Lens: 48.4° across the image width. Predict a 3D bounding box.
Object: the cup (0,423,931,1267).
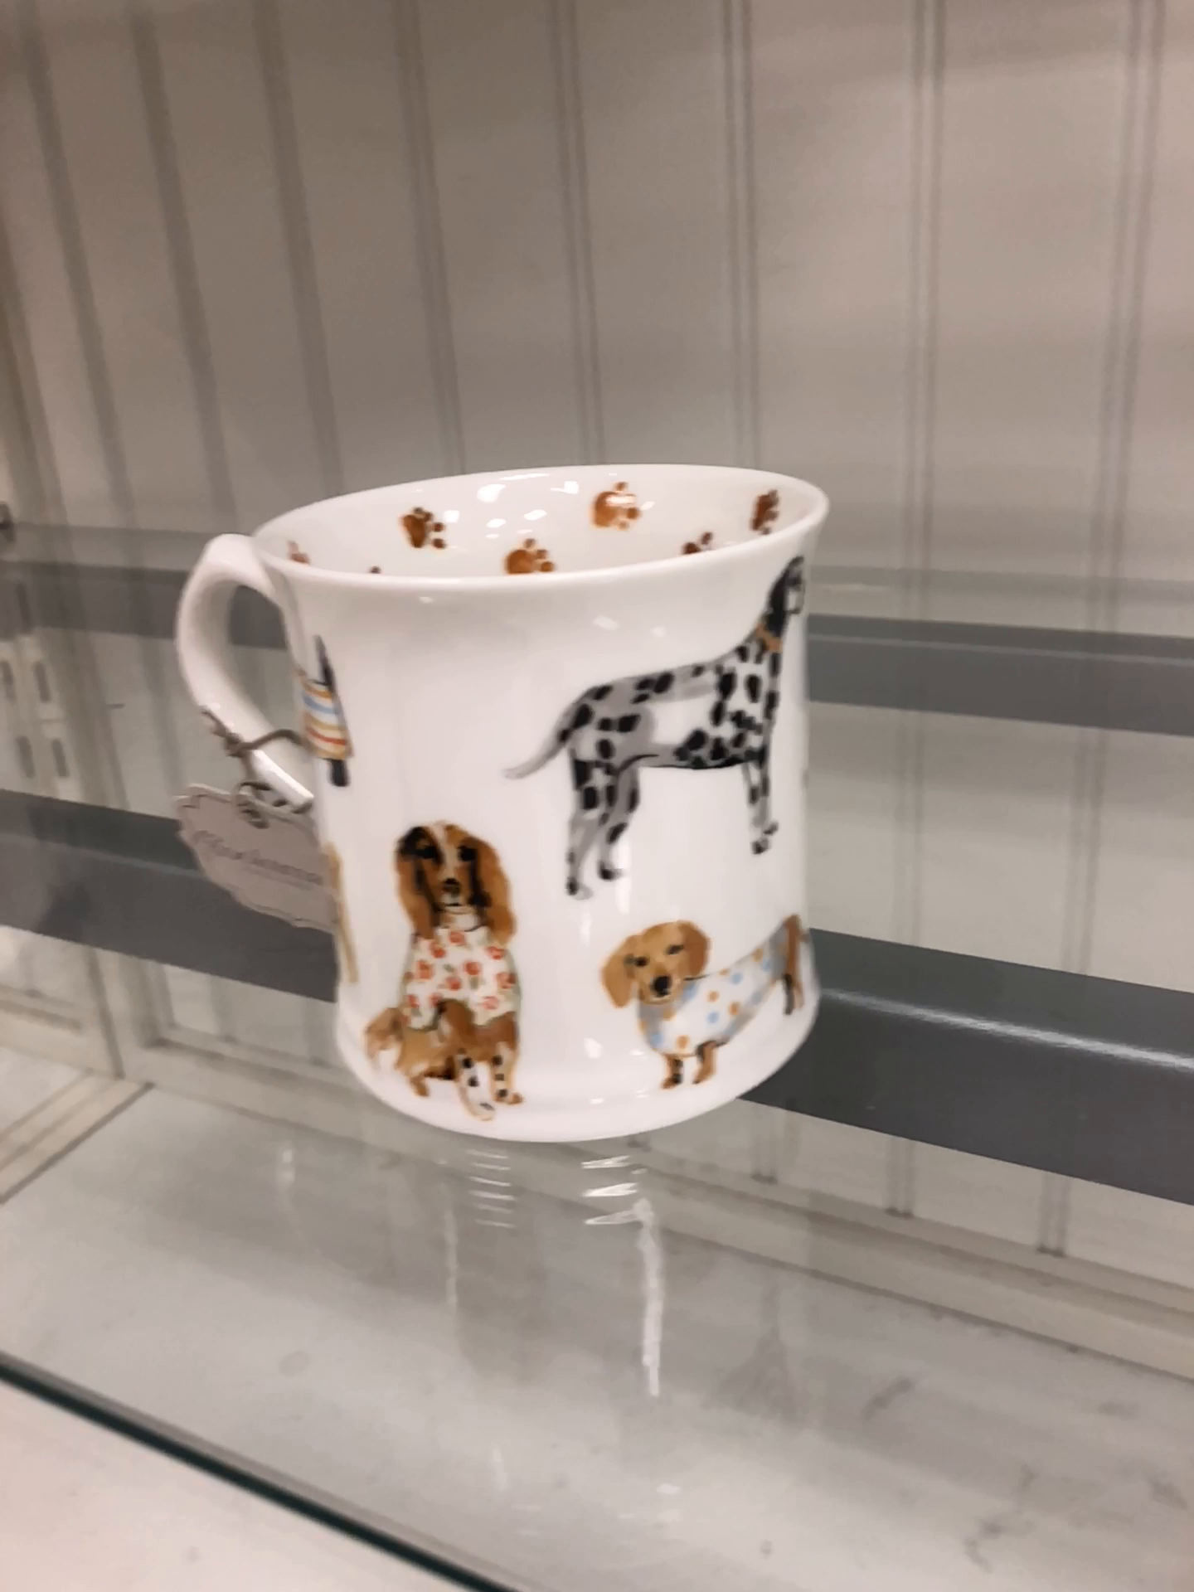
[{"bbox_3d":[-0.024,-0.010,0.227,0.125,0.089,0.100,13,27,36],"label":"cup"}]
